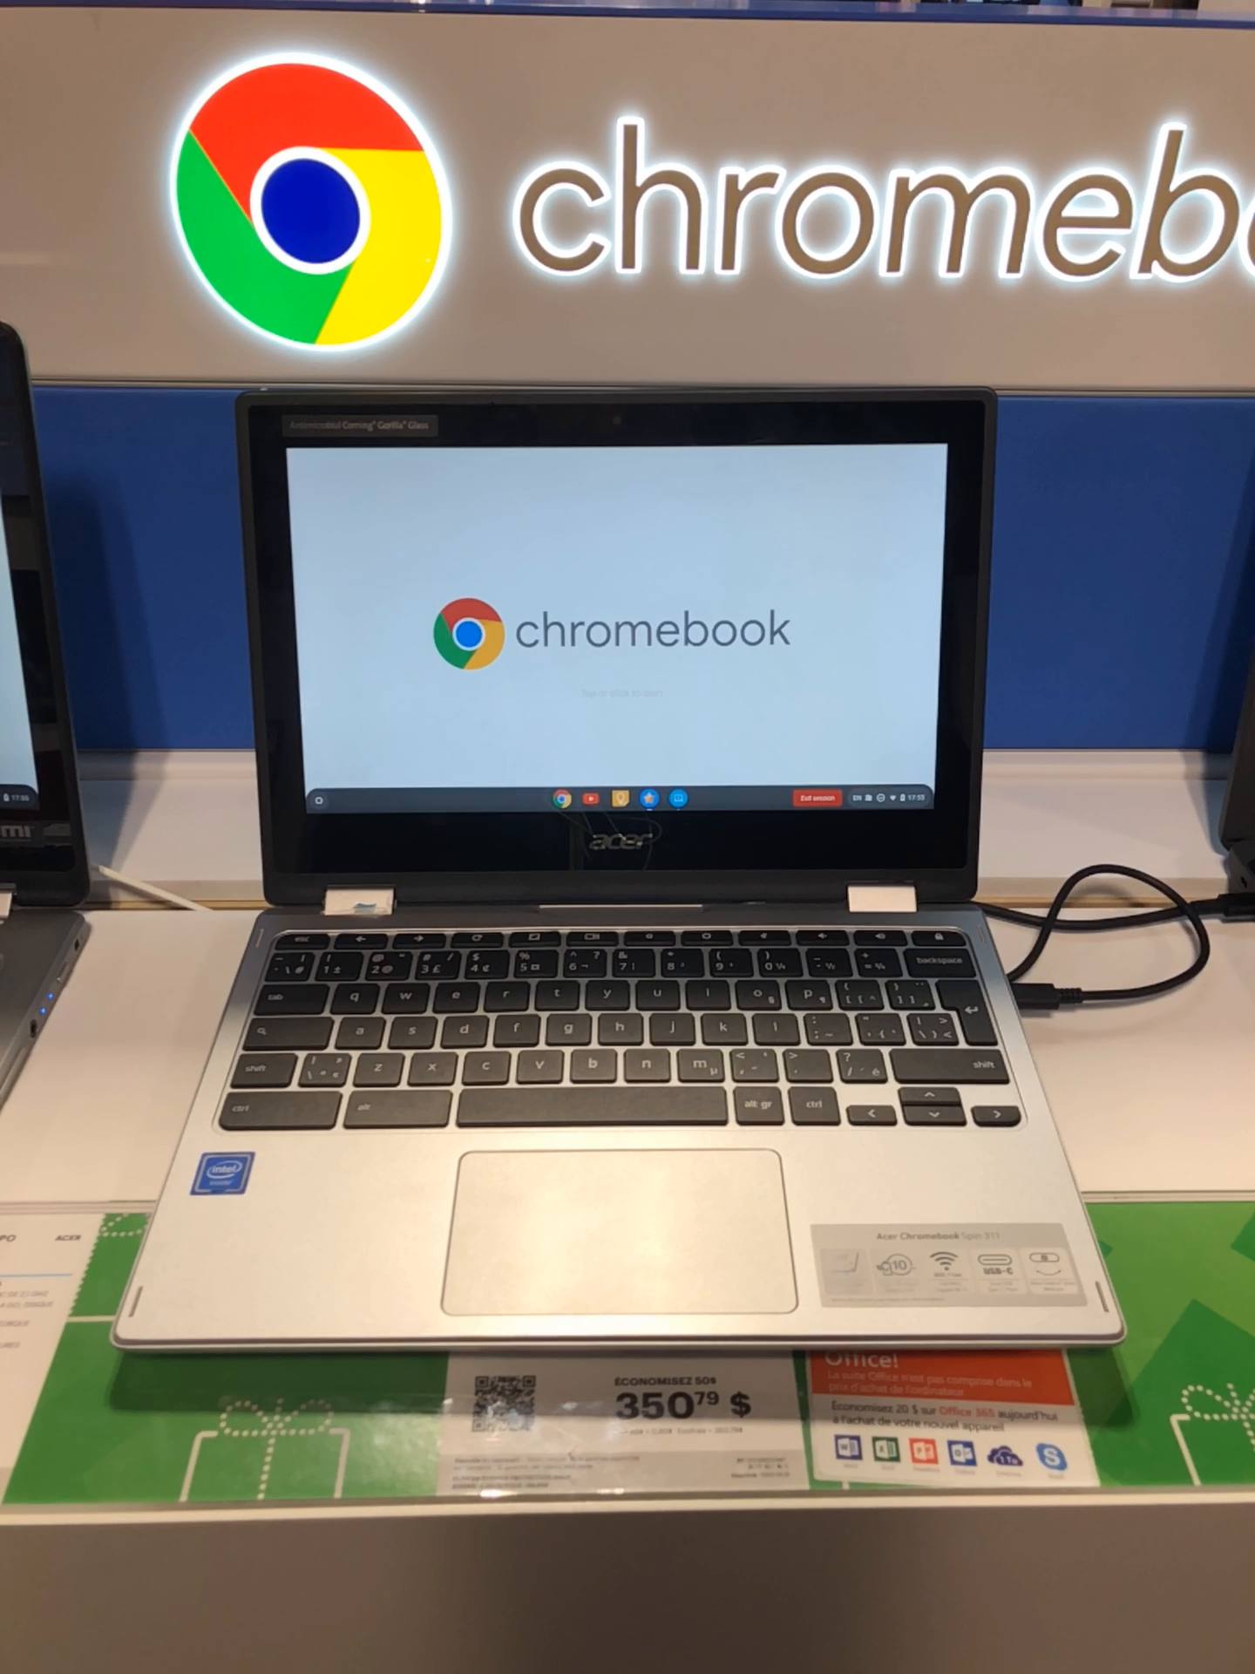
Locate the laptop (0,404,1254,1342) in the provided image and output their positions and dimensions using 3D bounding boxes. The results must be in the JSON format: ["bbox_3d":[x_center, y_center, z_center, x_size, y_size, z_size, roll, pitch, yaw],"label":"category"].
[{"bbox_3d":[-0.002,-0.009,0.456,0.284,0.181,0.274,0,35,-1],"label":"laptop"}]
